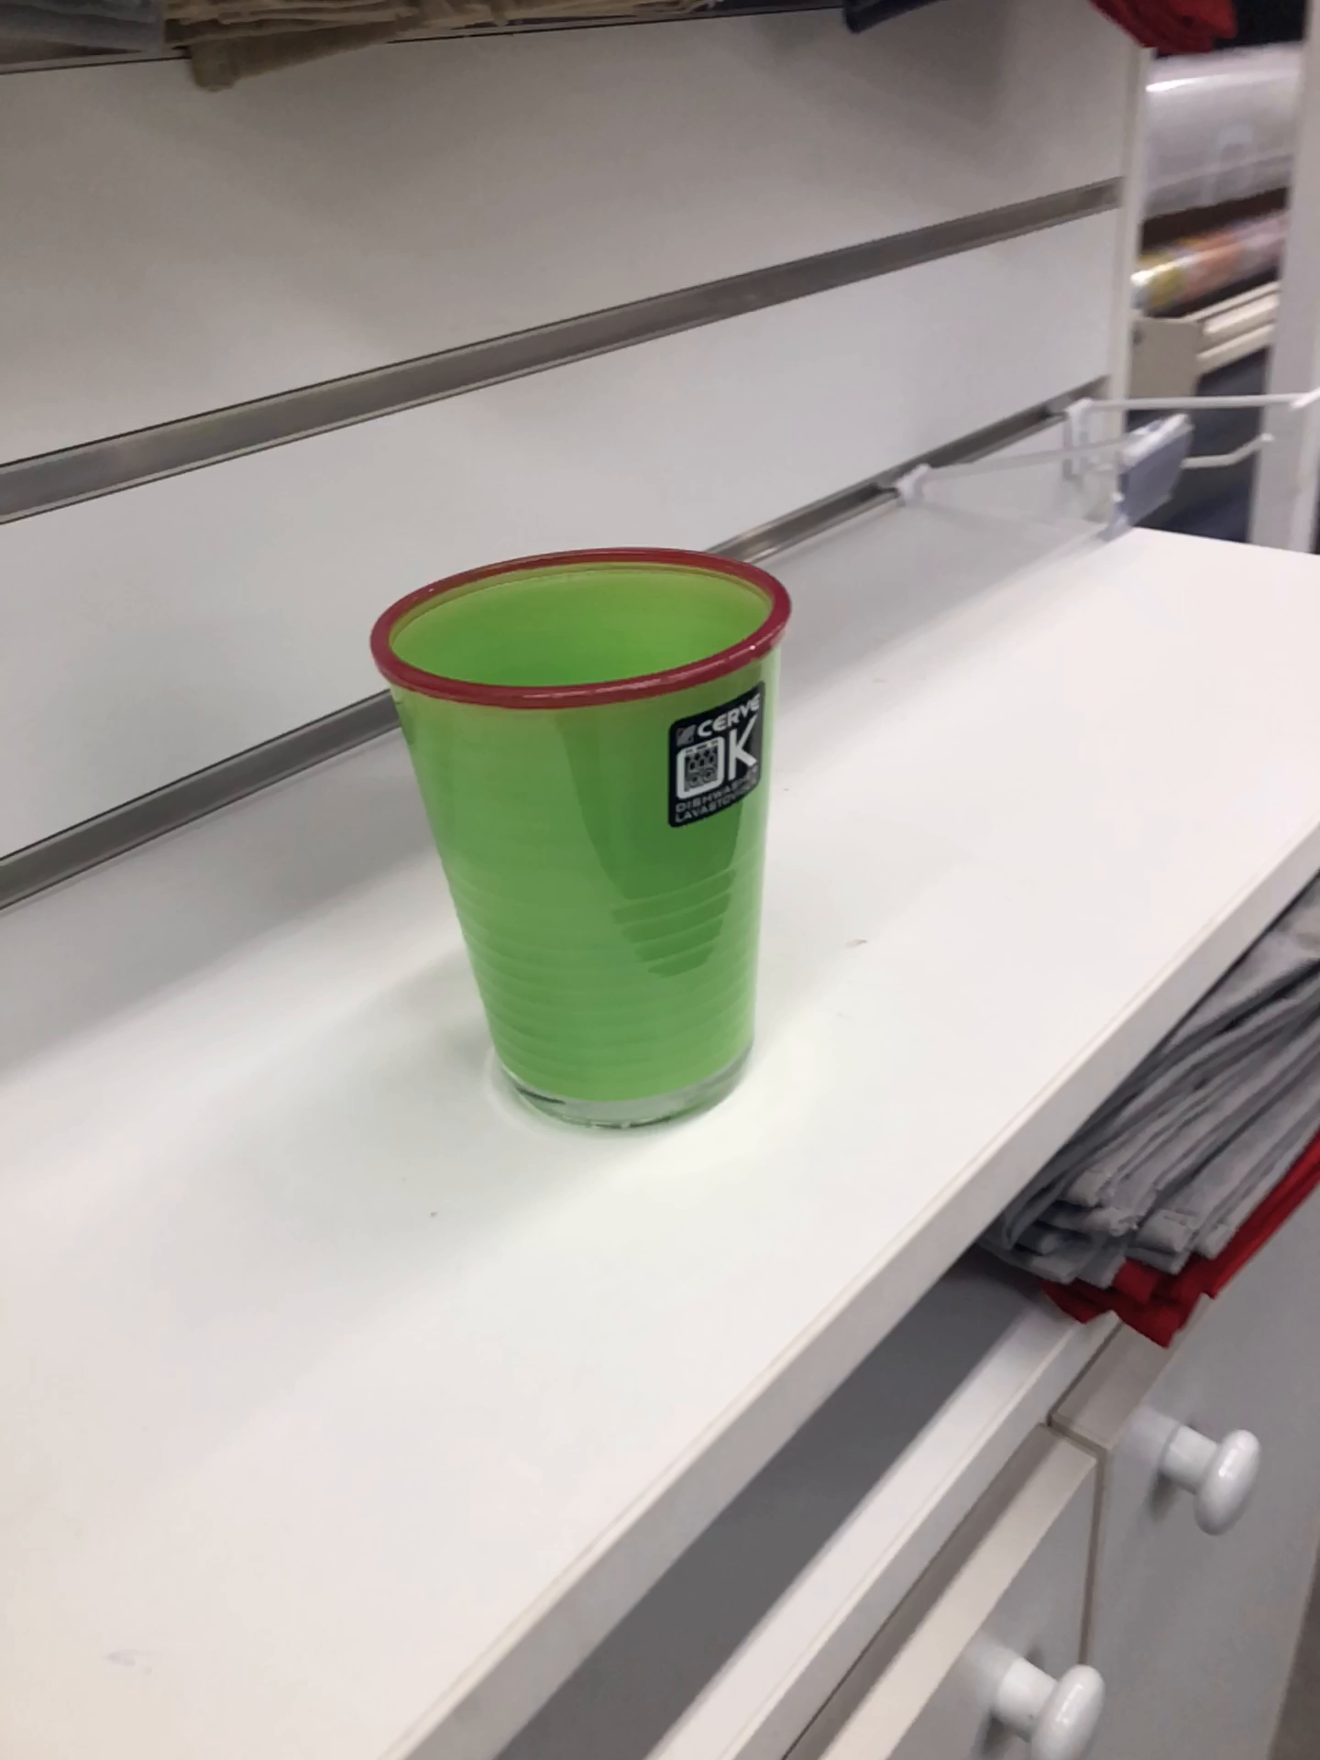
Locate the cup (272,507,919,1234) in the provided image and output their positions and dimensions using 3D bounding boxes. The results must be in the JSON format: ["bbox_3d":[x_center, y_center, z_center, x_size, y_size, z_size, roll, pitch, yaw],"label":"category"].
[{"bbox_3d":[-0.008,-0.009,0.291,0.086,0.098,0.082,-5,30,3],"label":"cup"}]
